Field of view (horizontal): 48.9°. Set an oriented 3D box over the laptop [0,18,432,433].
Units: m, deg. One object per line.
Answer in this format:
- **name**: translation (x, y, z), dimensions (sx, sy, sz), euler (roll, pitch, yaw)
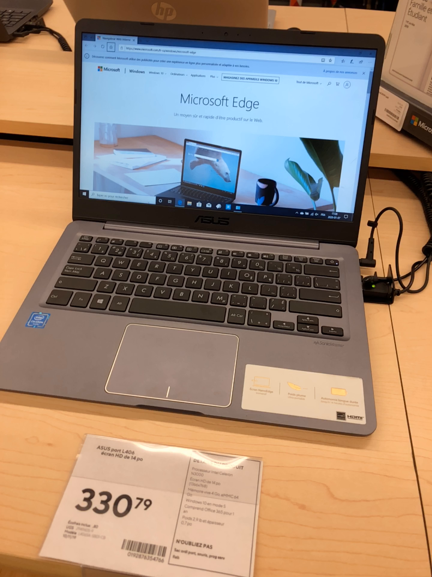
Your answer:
- **laptop**: translation (-0.012, -0.084, 0.430), dimensions (0.309, 0.173, 0.328), euler (6, 47, 5)
